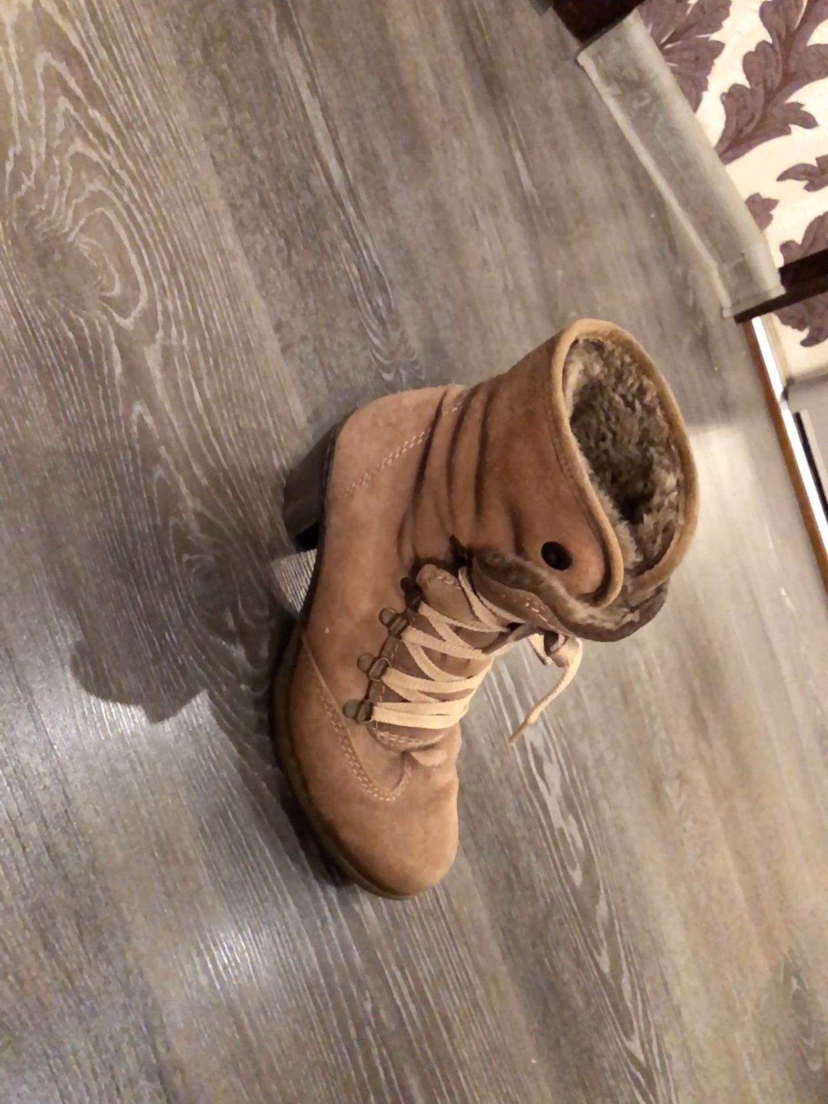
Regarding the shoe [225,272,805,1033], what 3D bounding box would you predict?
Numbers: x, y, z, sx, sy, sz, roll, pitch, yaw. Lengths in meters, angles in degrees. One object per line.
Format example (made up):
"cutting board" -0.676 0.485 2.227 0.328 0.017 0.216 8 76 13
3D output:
"shoe" 0.029 0.041 0.389 0.101 0.189 0.240 -3 81 -44
